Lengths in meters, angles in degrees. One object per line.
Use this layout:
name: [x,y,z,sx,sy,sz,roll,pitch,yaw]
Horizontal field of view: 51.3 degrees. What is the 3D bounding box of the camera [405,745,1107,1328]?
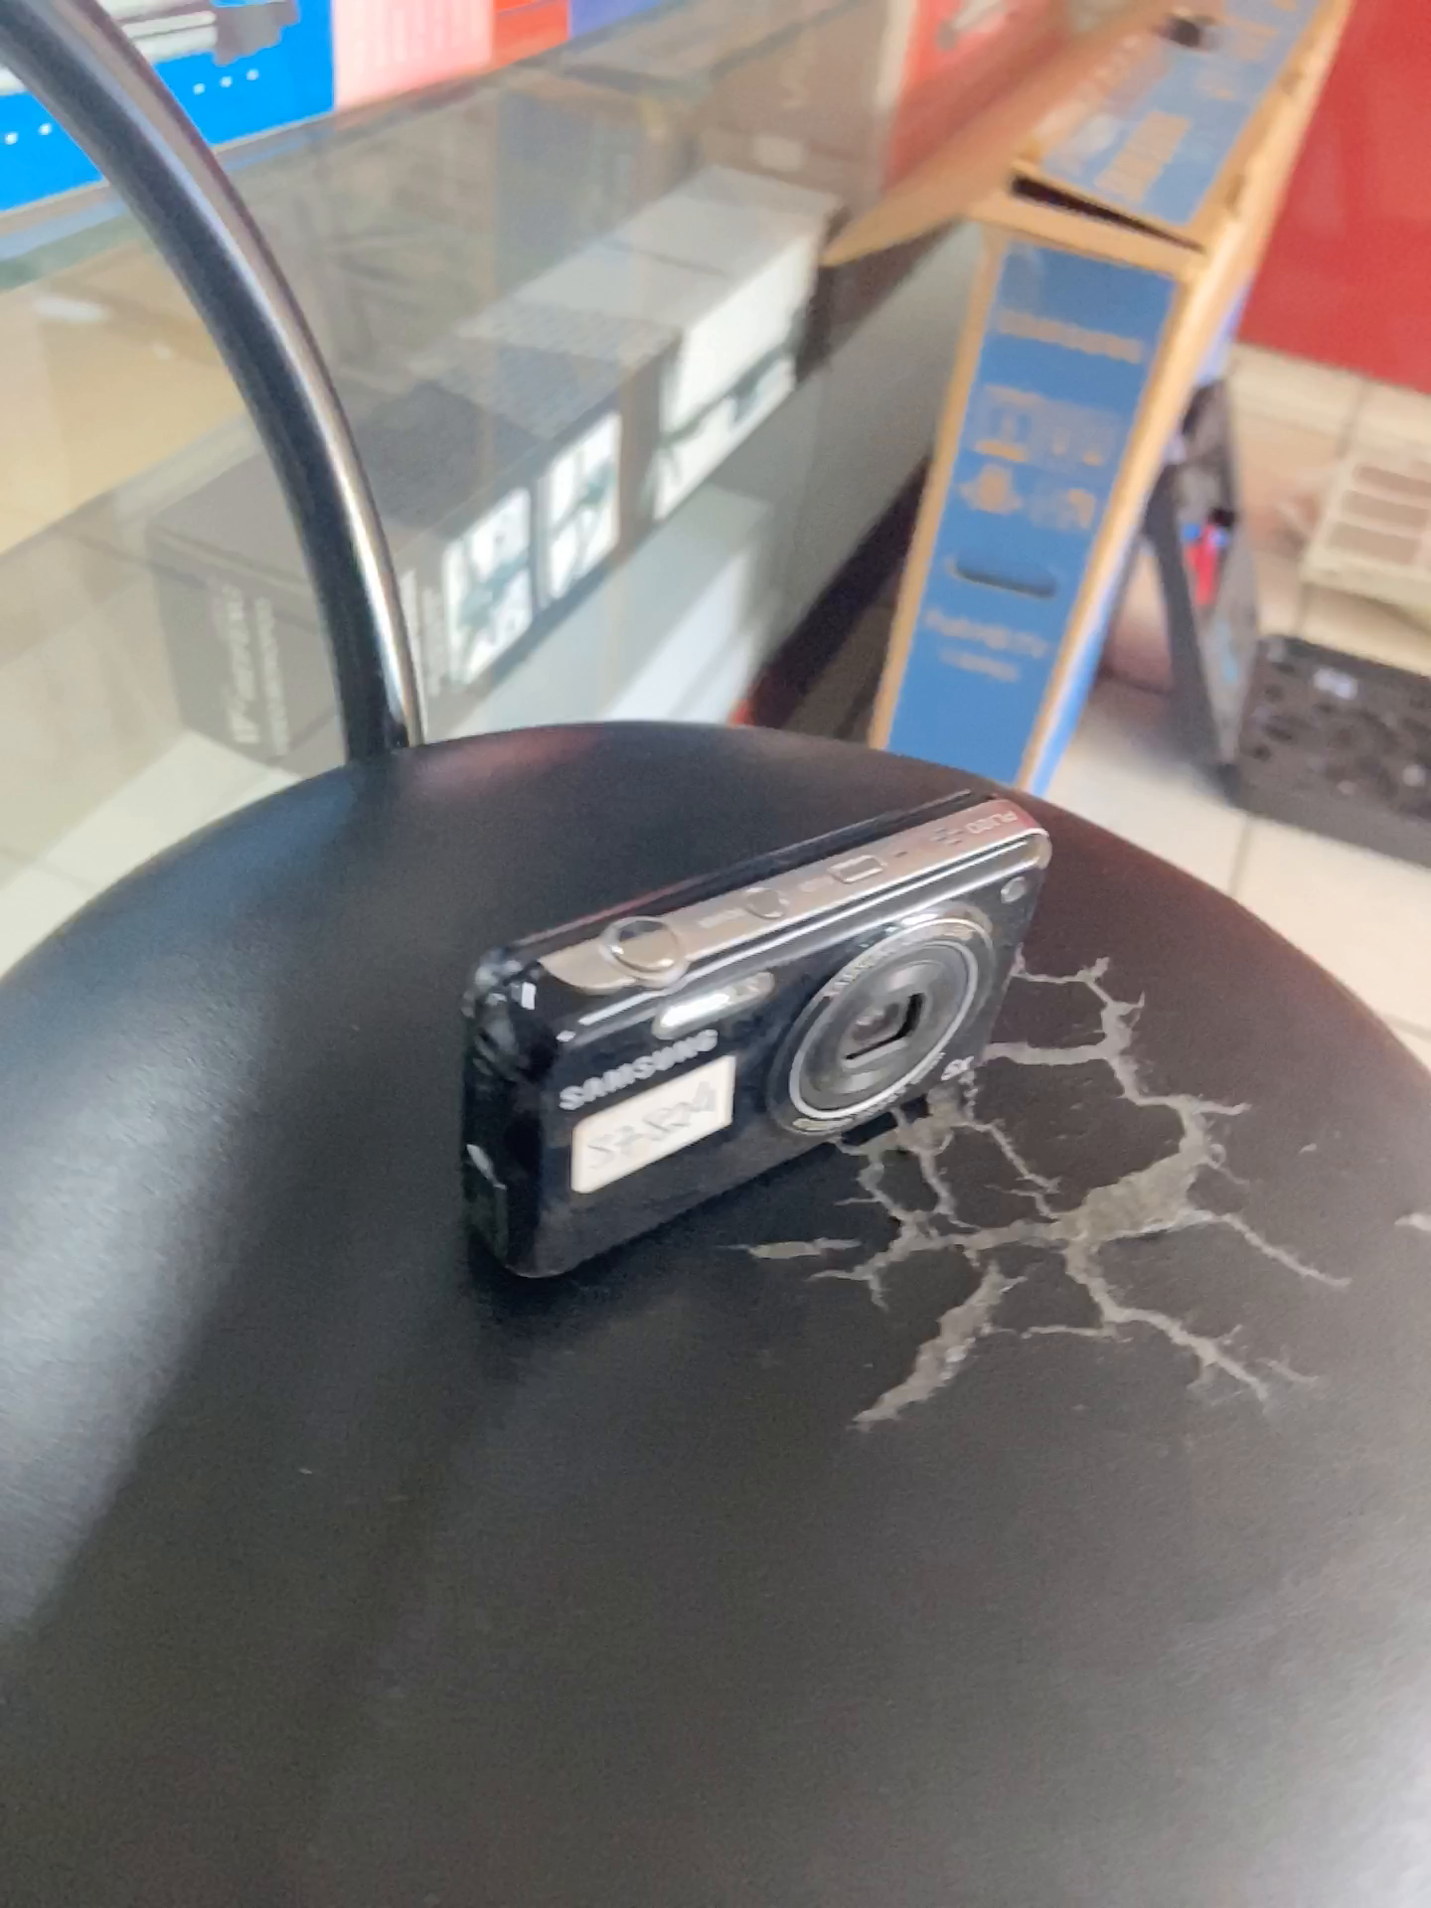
camera: [0.007,0.010,0.226,0.100,0.050,0.030,-21,51,-28]
